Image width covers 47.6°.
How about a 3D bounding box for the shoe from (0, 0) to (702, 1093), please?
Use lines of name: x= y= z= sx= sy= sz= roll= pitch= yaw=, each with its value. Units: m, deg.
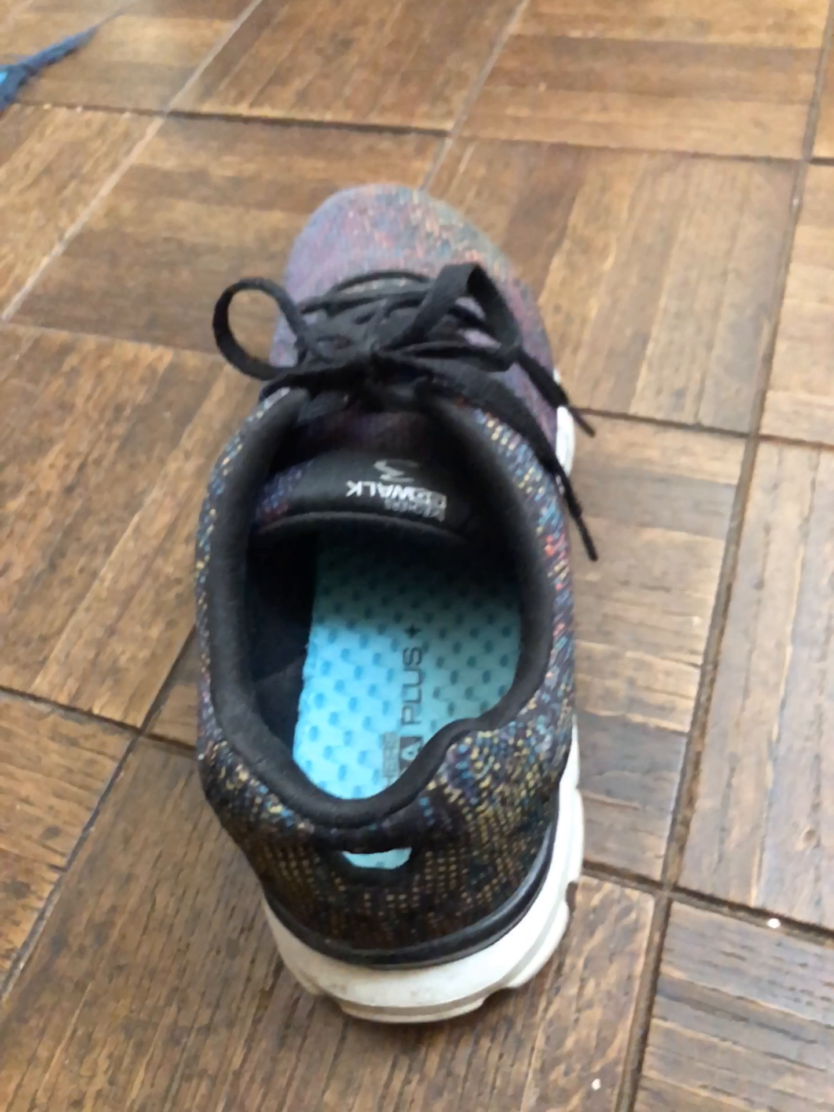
shoe: x=-0.009 y=-0.024 z=0.262 sx=0.110 sy=0.120 sz=0.290 roll=-4 pitch=55 yaw=6
